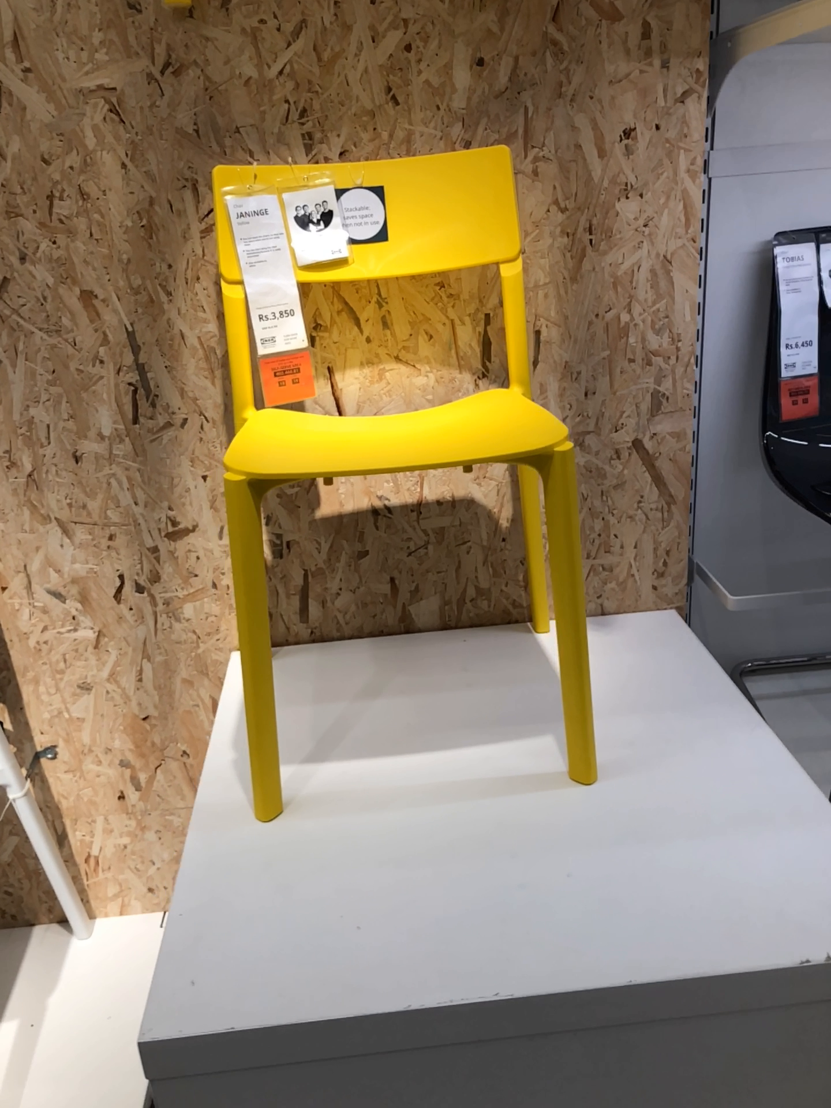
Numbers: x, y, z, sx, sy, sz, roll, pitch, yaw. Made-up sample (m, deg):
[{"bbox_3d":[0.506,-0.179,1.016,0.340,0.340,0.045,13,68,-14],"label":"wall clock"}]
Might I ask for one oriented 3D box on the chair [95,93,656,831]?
[{"bbox_3d":[-0.026,-0.128,1.080,0.460,0.676,0.463,-6,21,-4],"label":"chair"}]
